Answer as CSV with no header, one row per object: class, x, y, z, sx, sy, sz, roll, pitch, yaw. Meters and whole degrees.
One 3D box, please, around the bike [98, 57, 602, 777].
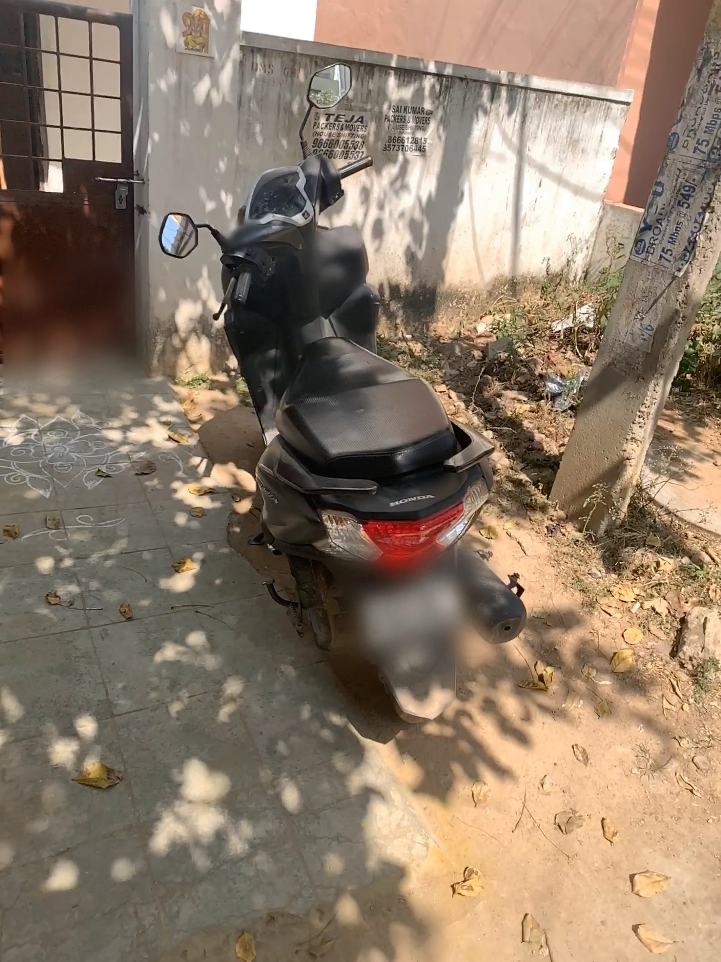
bike,-0.261,-0.310,1.958,0.607,1.177,1.514,-5,33,-24
